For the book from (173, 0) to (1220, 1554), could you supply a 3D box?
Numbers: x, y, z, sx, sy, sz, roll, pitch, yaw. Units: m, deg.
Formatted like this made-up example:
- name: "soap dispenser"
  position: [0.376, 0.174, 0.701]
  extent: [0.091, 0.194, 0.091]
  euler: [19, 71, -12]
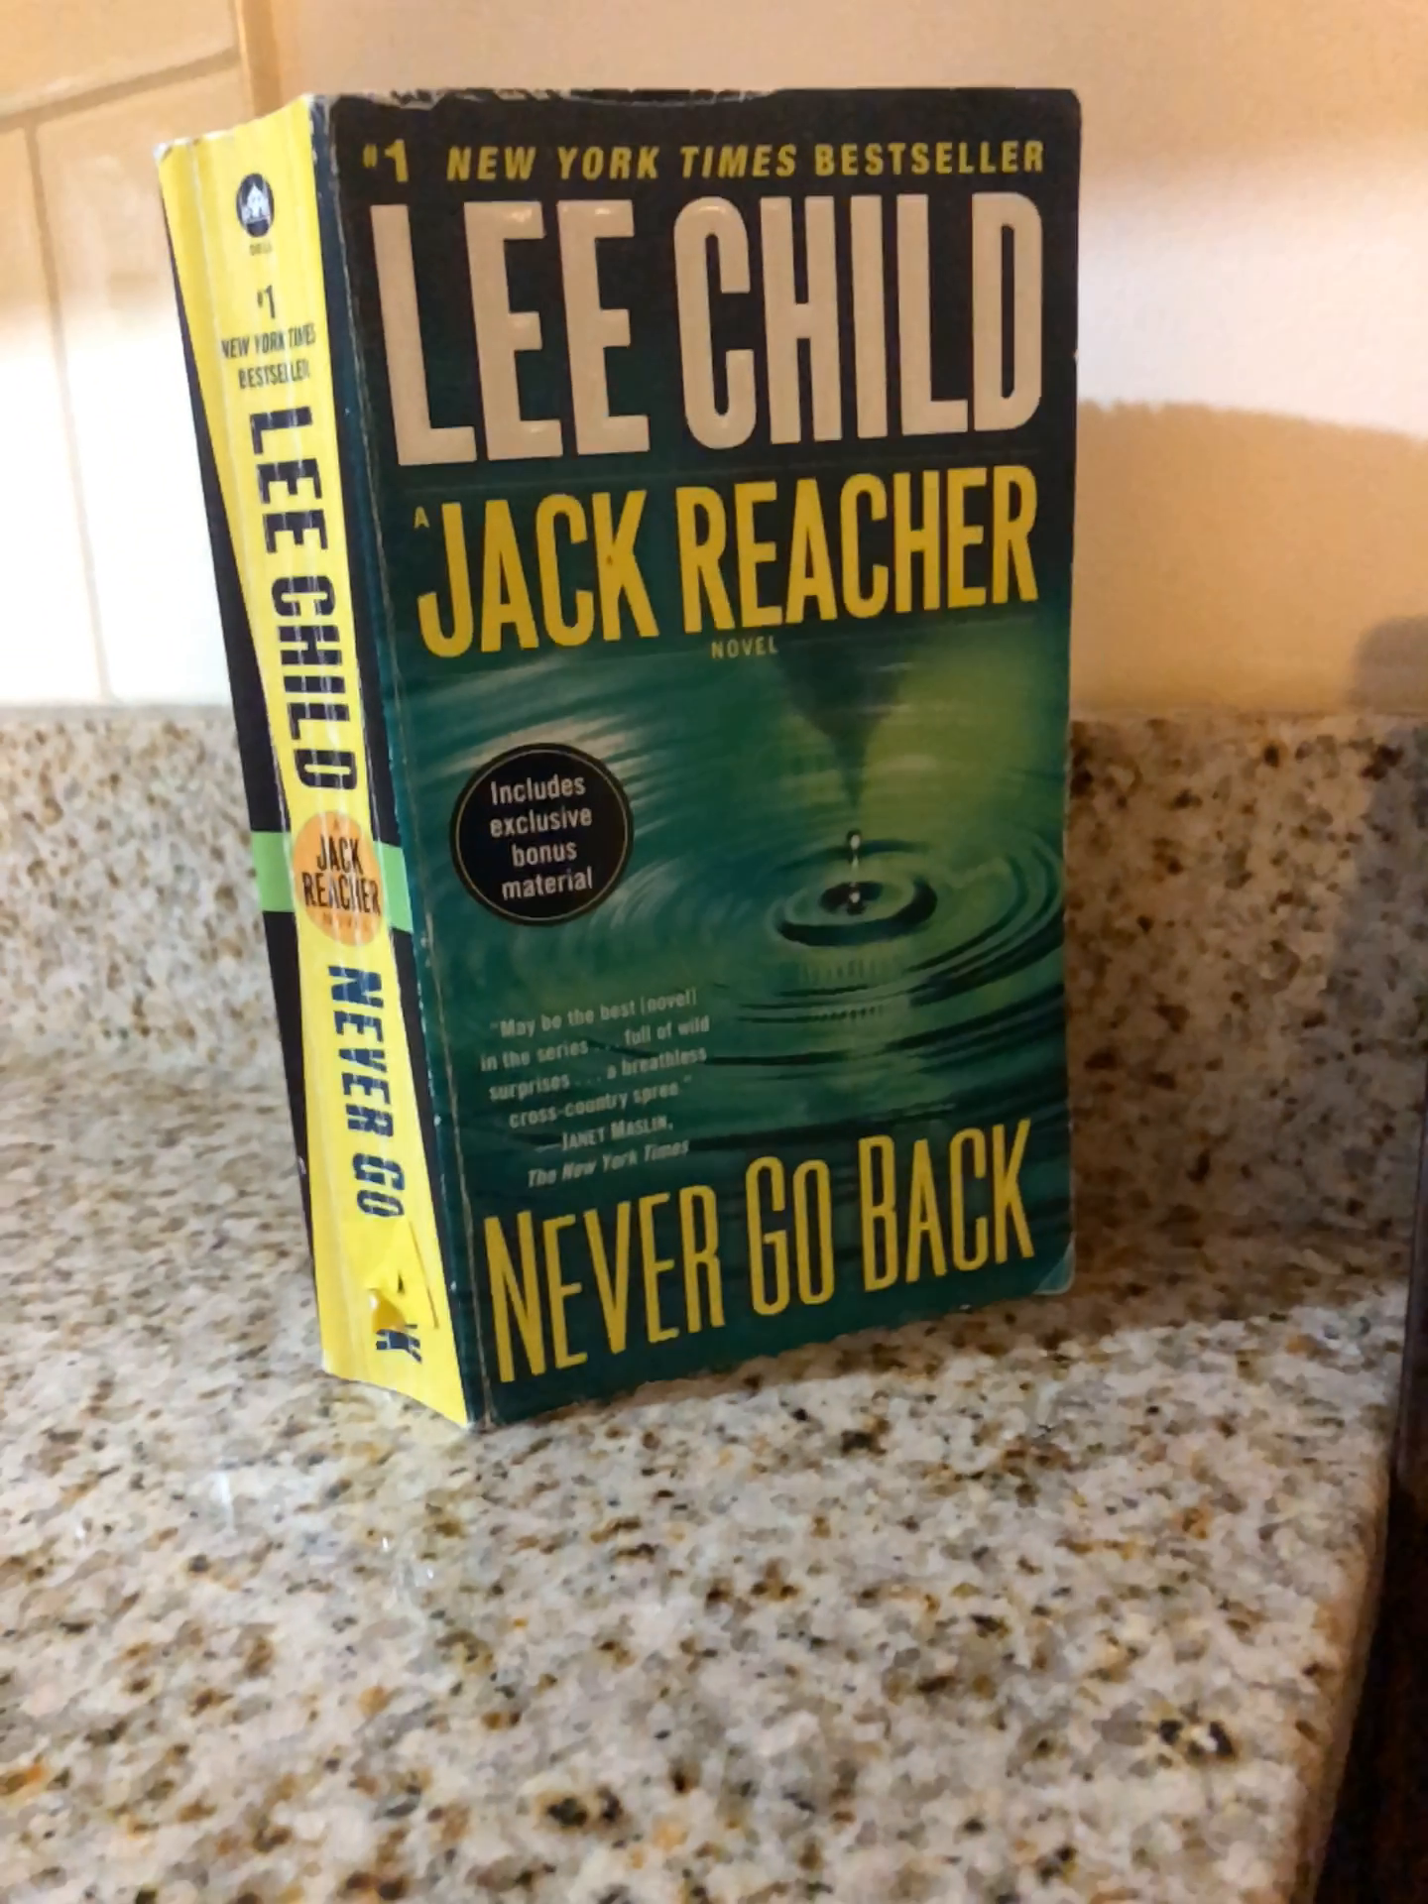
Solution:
- name: "book"
  position: [0.008, -0.033, 0.277]
  extent: [0.160, 0.219, 0.050]
  euler: [-12, 17, -30]
